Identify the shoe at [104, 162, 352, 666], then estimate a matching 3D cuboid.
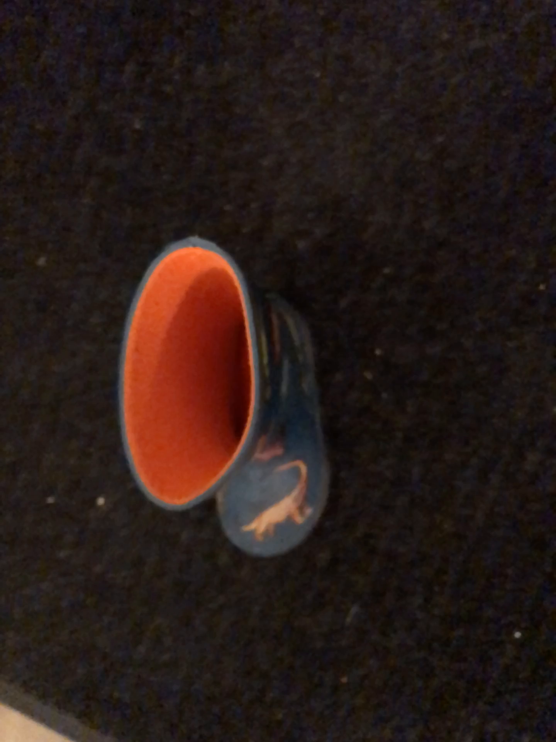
[{"bbox_3d":[-0.011,0.013,0.333,0.080,0.180,0.190,3,93,10],"label":"shoe"}]
